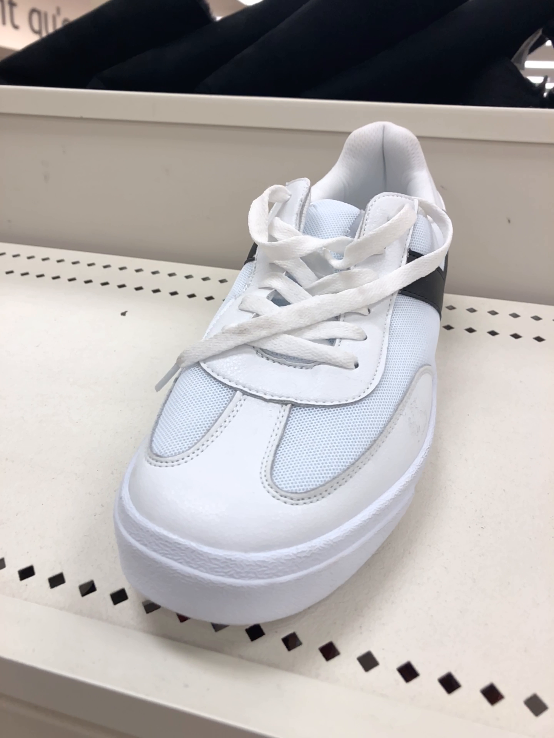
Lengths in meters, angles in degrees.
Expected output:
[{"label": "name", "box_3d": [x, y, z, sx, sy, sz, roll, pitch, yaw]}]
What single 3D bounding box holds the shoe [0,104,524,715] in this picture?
[{"label": "shoe", "box_3d": [0.045, -0.053, 0.308, 0.113, 0.129, 0.373, 11, 28, 19]}]
